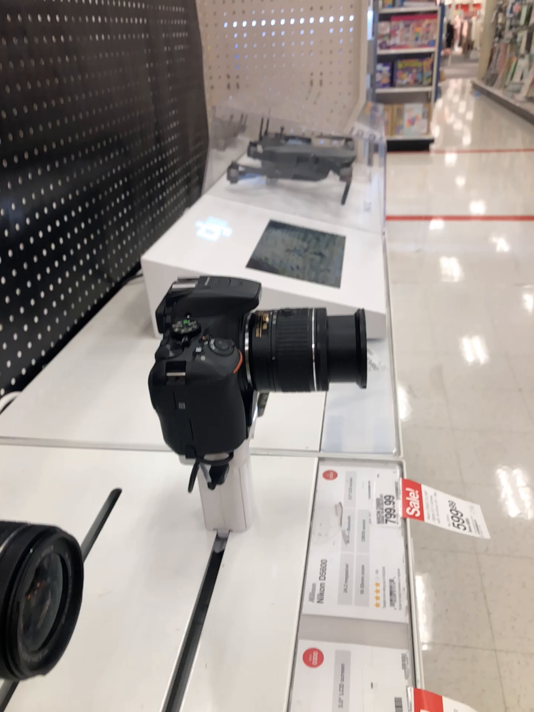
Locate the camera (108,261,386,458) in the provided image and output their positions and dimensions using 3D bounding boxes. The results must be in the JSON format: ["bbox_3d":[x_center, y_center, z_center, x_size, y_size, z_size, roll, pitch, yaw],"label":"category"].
[{"bbox_3d":[-0.005,-0.005,0.435,0.170,0.090,0.131,1,28,7],"label":"camera"}]
